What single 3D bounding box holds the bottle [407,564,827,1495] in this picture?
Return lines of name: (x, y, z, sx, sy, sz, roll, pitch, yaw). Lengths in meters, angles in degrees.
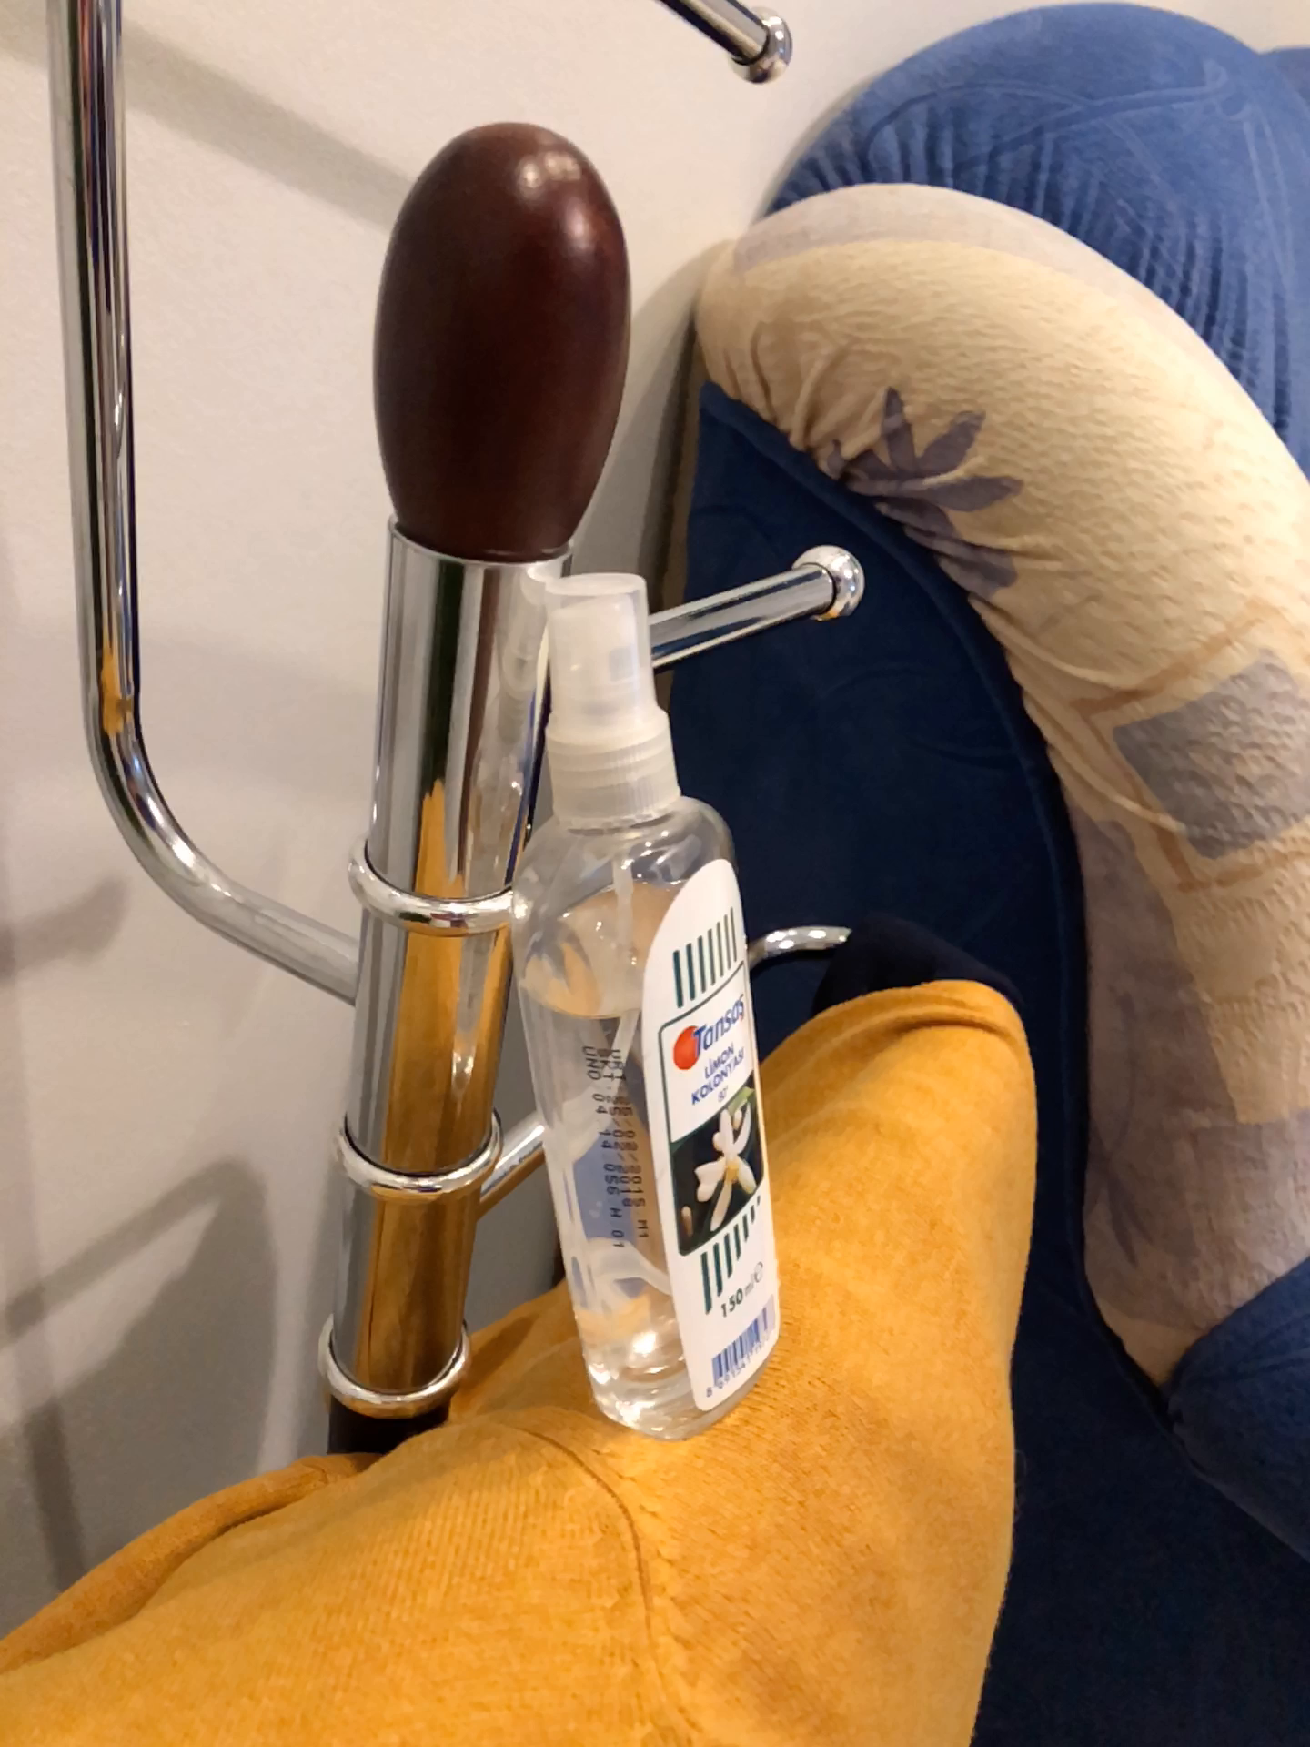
bottle: (-0.002, 0.028, 0.262, 0.030, 0.158, 0.051, 8, 26, 37)
